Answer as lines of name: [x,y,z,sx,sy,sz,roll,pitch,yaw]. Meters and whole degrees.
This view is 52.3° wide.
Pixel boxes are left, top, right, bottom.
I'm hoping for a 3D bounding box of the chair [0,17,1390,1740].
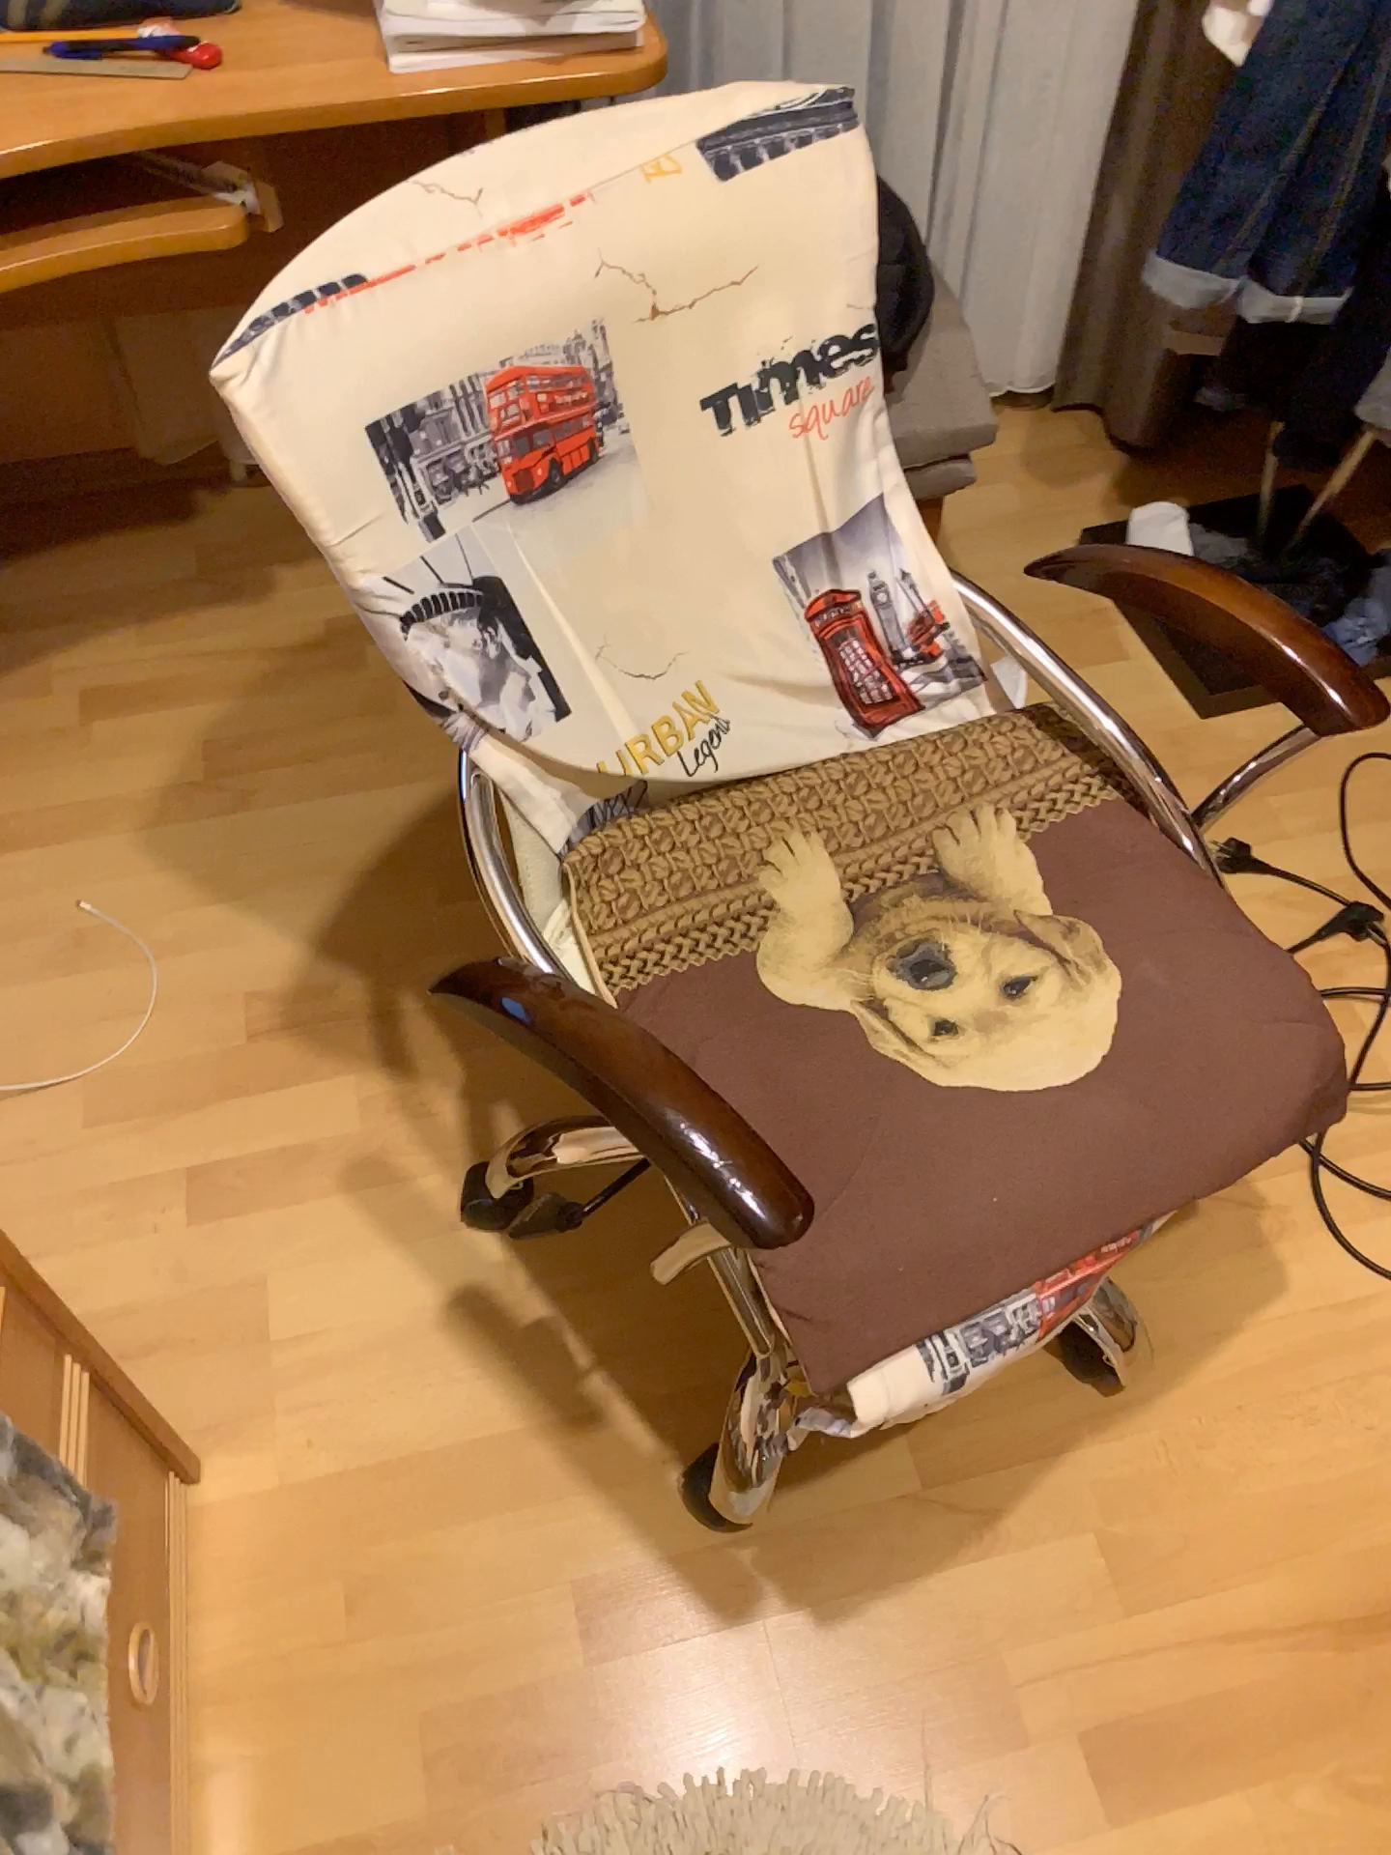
chair: [0.066,-0.011,0.818,0.476,0.665,0.566,-35,60,-25]
